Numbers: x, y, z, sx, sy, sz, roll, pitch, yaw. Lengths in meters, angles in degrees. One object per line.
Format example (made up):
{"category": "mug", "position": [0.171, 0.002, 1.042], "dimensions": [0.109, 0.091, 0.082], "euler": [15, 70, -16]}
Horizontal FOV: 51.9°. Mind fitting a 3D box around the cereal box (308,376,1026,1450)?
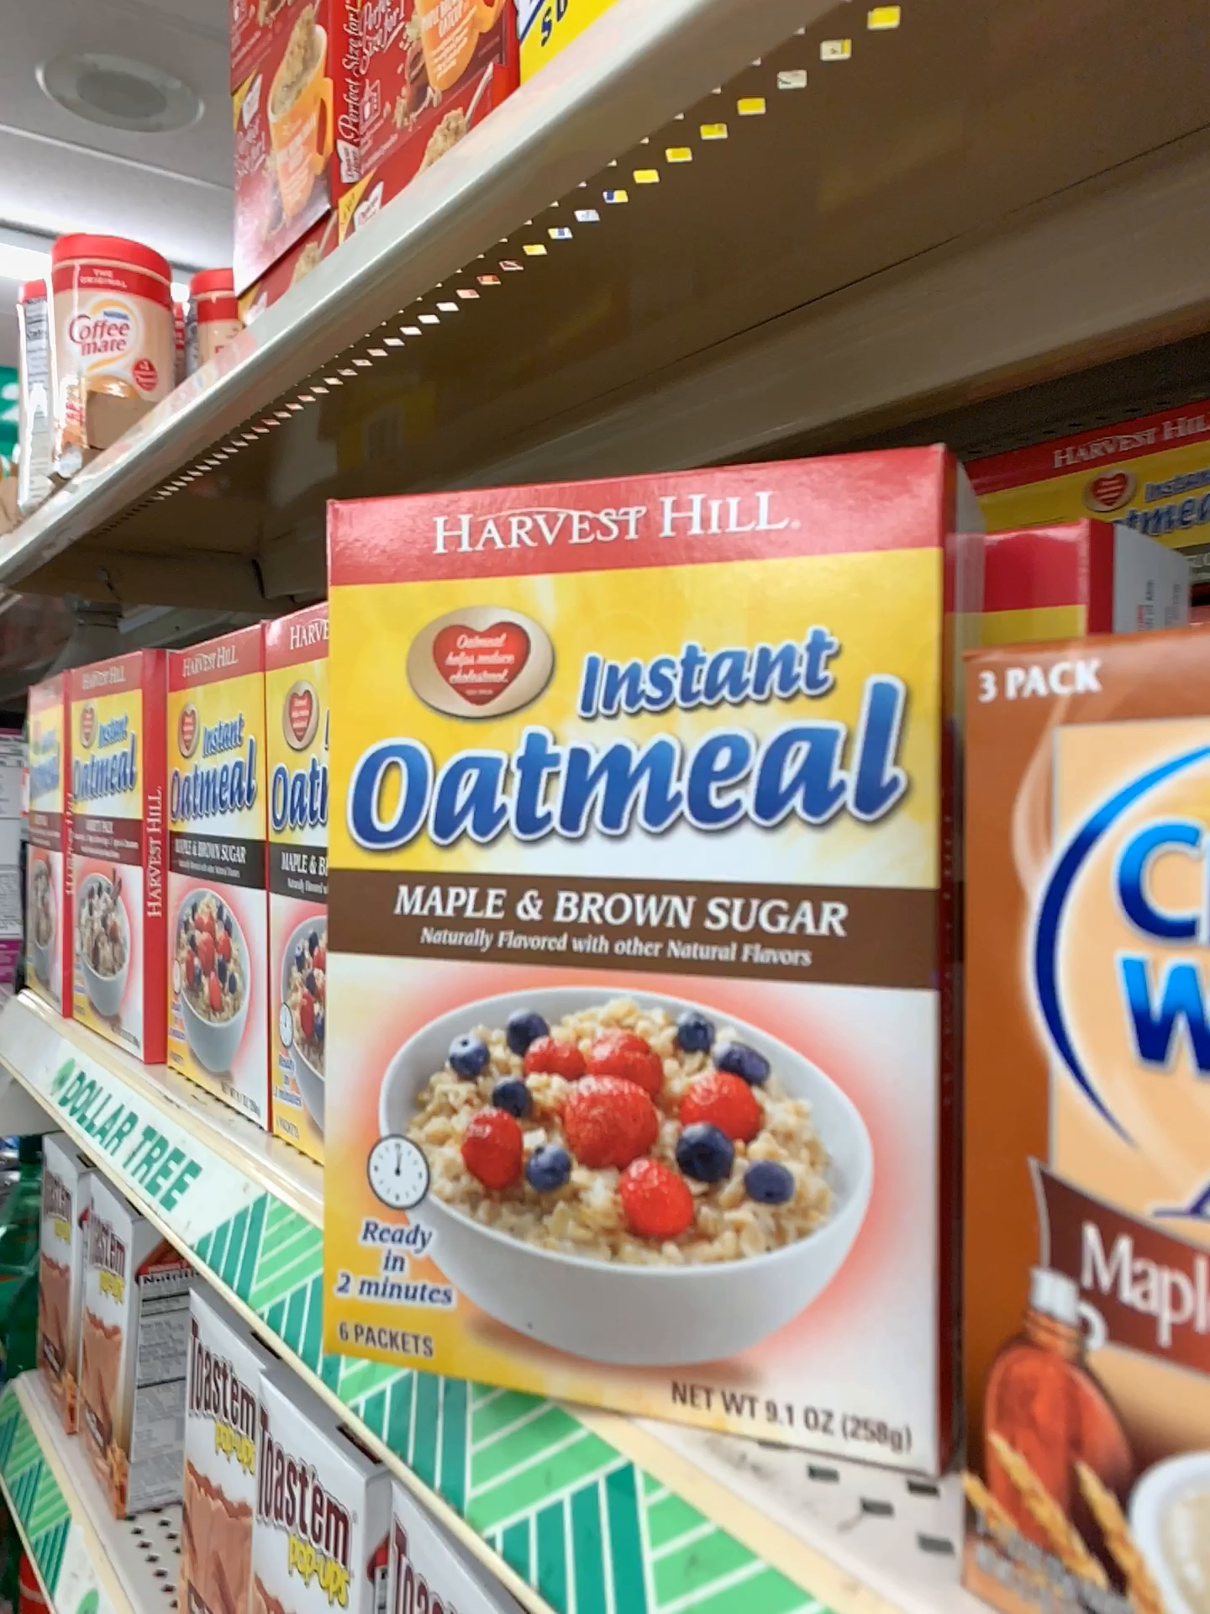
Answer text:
{"category": "cereal box", "position": [0.013, 0.017, 0.248], "dimensions": [0.130, 0.180, 0.050], "euler": [1, 0, 14]}
